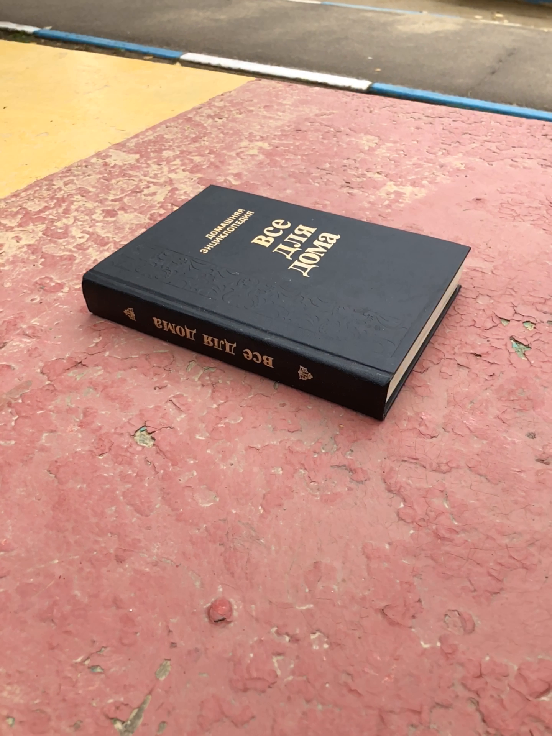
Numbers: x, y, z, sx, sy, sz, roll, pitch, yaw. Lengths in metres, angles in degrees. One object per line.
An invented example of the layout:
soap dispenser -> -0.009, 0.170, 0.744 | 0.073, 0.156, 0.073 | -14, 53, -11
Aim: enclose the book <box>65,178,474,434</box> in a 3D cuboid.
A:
book -> 0.000, -0.056, 0.395 | 0.210, 0.040, 0.150 | 19, 44, 21
